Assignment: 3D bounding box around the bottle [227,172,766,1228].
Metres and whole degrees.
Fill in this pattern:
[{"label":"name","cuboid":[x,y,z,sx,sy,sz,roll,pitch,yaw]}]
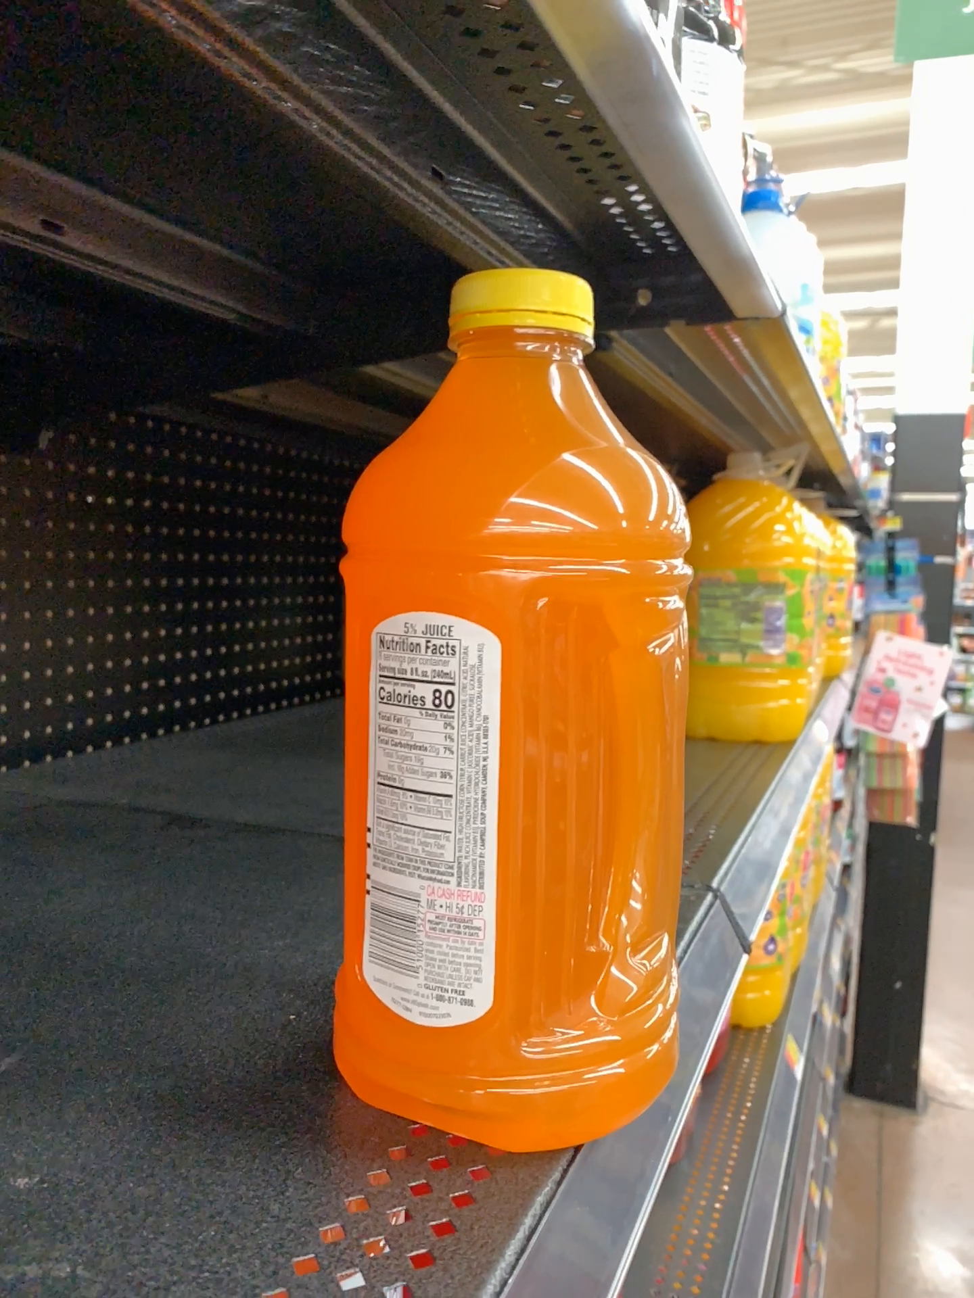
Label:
[{"label":"bottle","cuboid":[0.009,0.009,0.329,0.128,0.260,0.125,2,5,0]}]
